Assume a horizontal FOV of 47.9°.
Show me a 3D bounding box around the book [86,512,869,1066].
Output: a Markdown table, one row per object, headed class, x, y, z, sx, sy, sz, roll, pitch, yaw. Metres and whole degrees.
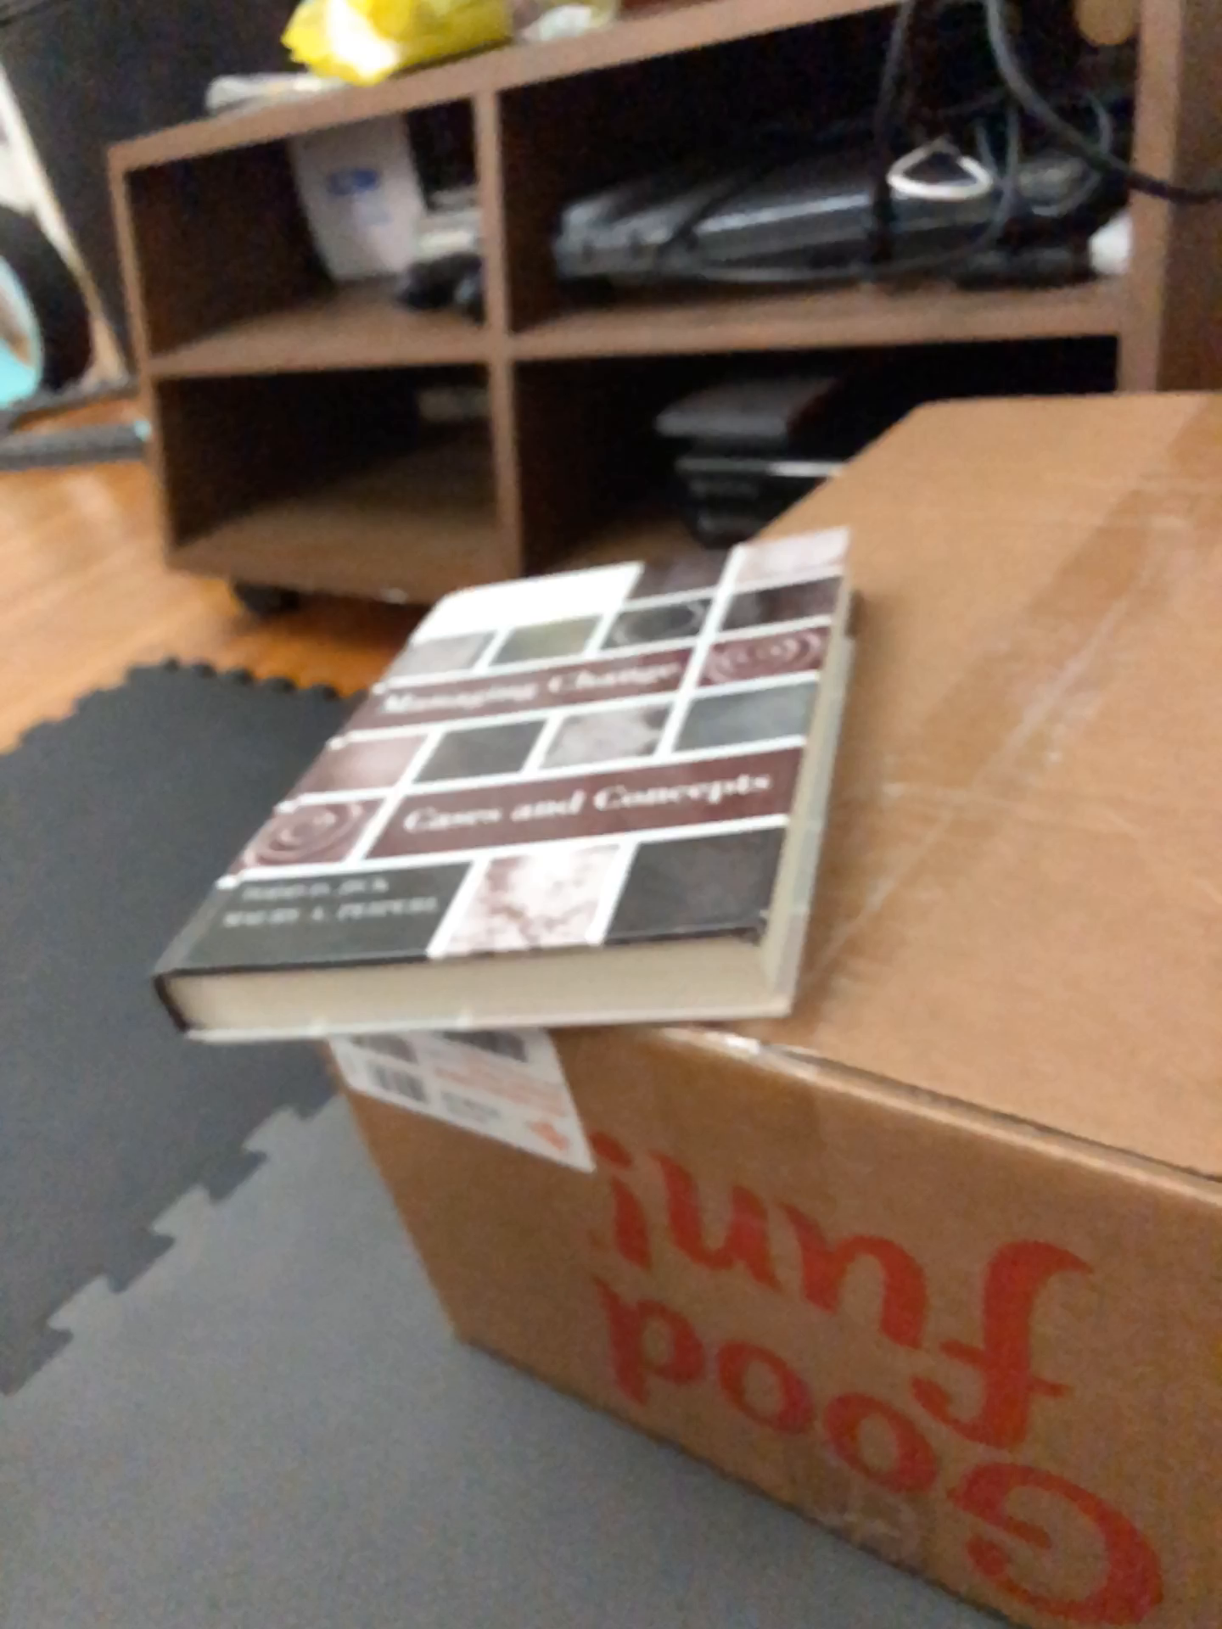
| class | x | y | z | sx | sy | sz | roll | pitch | yaw |
| --- | --- | --- | --- | --- | --- | --- | --- | --- | --- |
| book | -0.019 | -0.021 | 0.434 | 0.180 | 0.030 | 0.251 | -5 | 32 | 18 |
